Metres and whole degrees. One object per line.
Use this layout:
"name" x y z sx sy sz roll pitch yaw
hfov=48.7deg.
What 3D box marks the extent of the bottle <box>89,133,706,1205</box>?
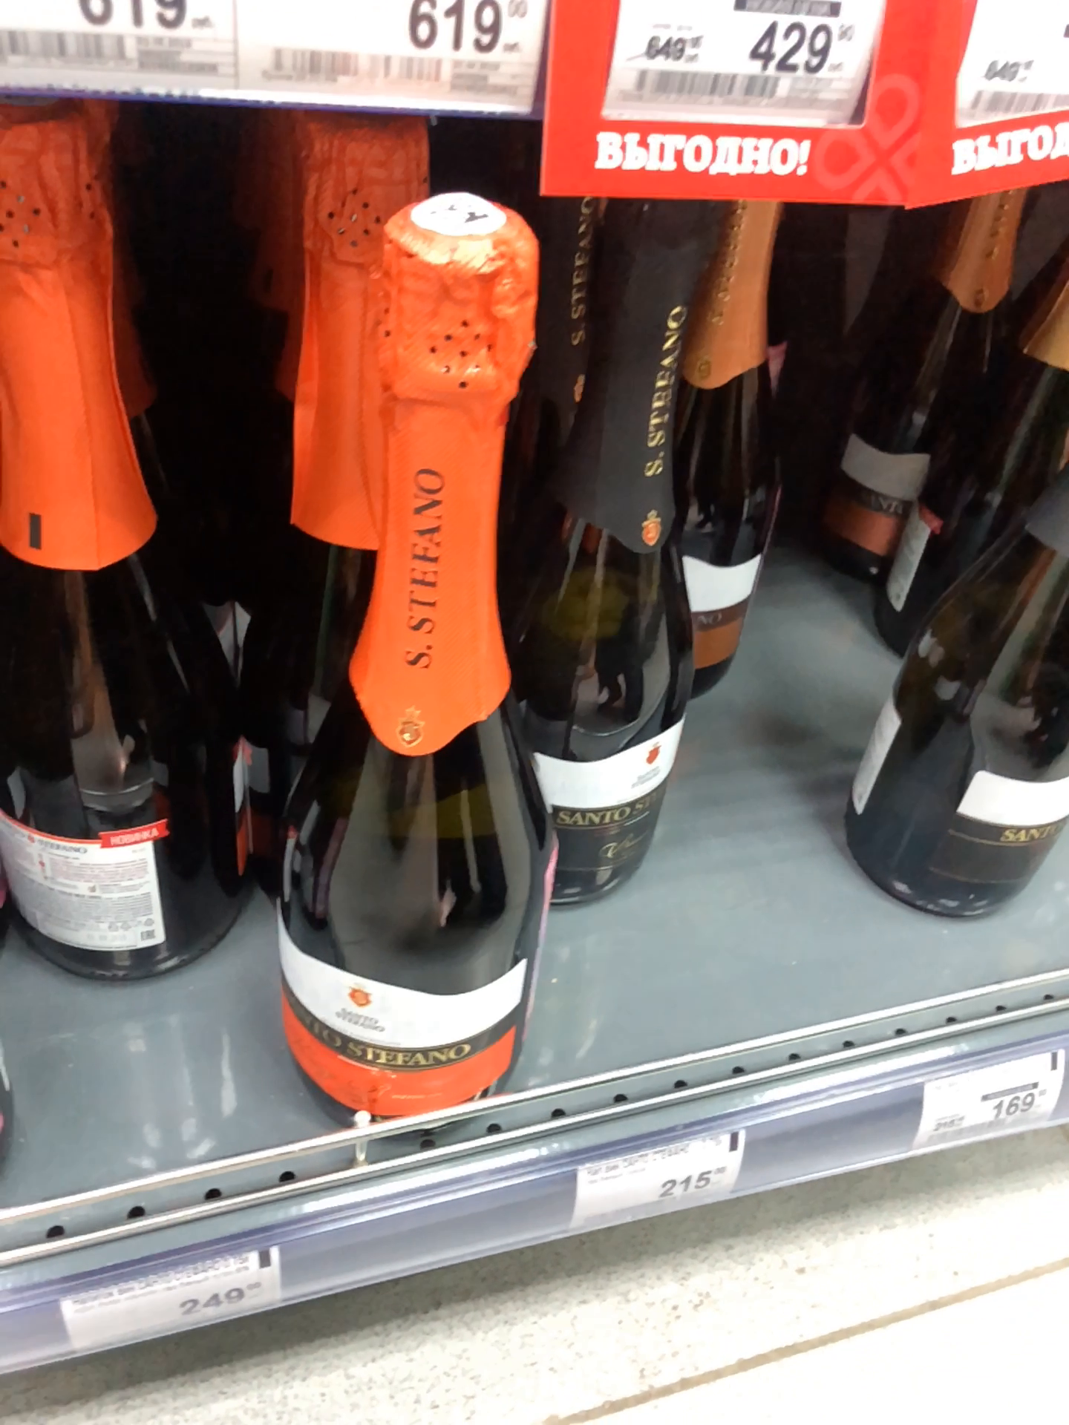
"bottle" -0.038 0.009 0.350 0.100 0.298 0.101 5 40 -4
